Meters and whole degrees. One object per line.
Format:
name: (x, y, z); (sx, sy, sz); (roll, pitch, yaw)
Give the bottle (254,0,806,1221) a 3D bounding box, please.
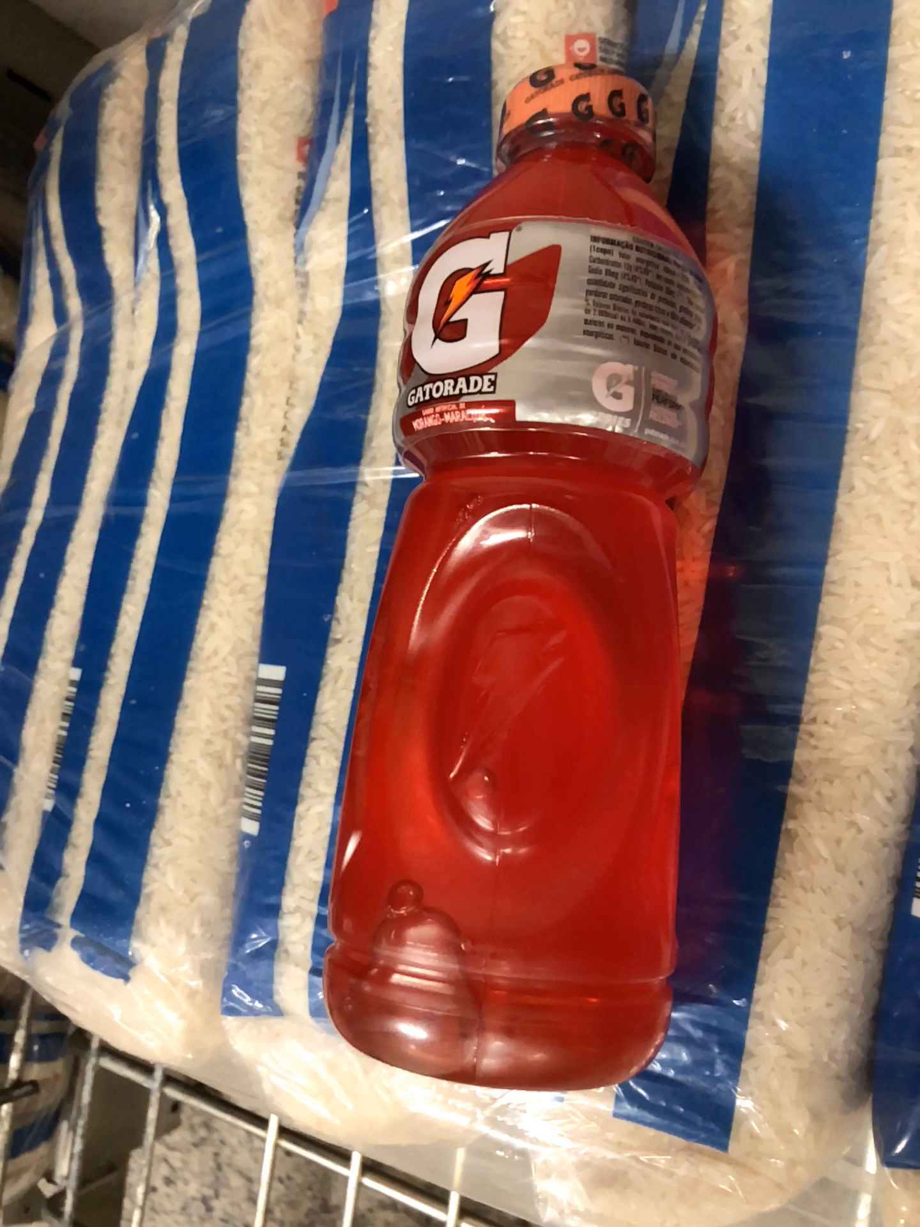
bottle: (0.017, -0.017, 0.206); (0.080, 0.060, 0.220); (1, 86, 30)
